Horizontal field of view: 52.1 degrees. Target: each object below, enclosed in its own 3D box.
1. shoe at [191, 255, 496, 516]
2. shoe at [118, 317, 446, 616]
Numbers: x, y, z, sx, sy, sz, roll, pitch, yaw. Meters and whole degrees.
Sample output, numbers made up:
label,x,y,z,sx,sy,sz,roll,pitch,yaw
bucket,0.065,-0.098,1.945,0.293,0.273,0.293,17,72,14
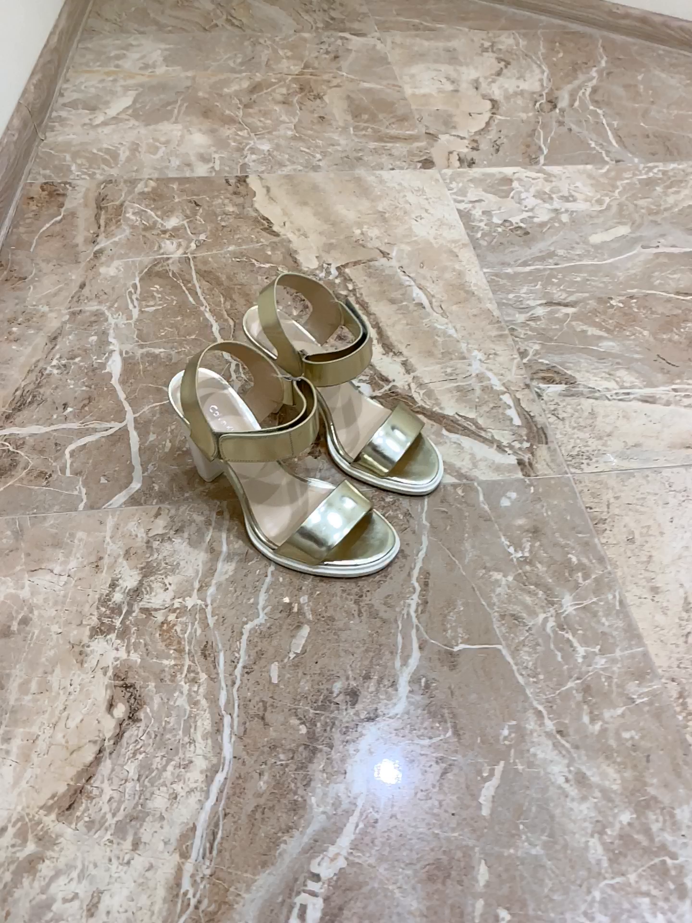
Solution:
label,x,y,z,sx,sy,sz,roll,pitch,yaw
shoe,-0.006,-0.071,0.623,0.230,0.119,0.100,25,51,19
shoe,-0.050,0.001,0.558,0.220,0.129,0.096,25,51,19
